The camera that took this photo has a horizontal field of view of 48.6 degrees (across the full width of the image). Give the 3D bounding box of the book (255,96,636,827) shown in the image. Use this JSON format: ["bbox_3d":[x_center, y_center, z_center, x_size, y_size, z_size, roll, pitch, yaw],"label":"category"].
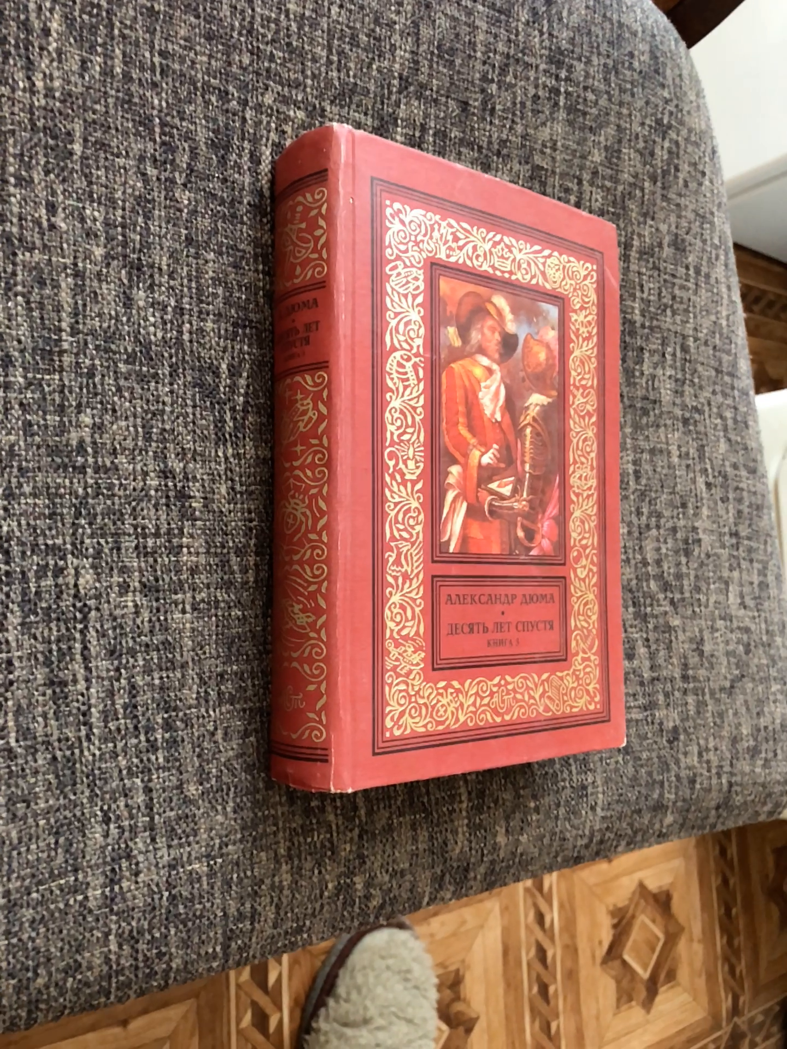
[{"bbox_3d":[0.022,-0.017,0.297,0.132,0.038,0.206,3,85,-35],"label":"book"}]
